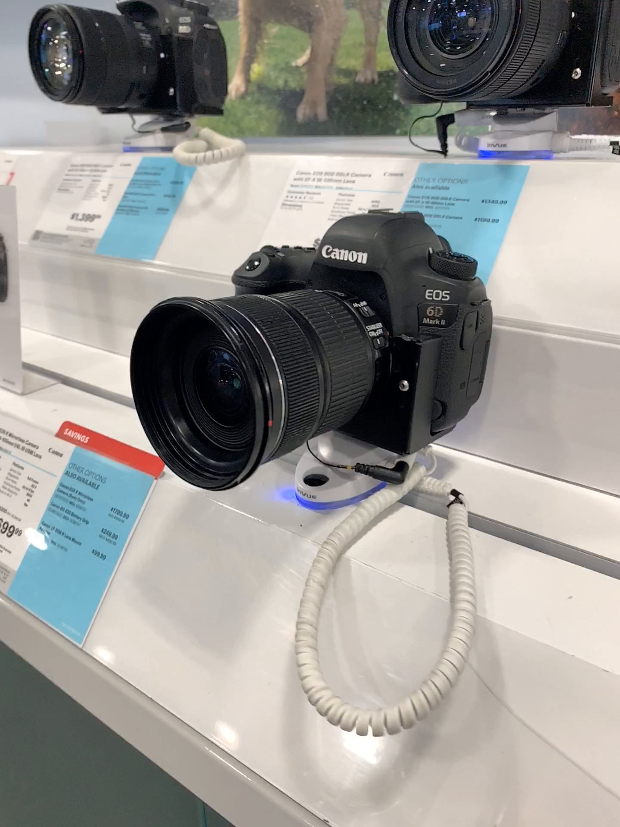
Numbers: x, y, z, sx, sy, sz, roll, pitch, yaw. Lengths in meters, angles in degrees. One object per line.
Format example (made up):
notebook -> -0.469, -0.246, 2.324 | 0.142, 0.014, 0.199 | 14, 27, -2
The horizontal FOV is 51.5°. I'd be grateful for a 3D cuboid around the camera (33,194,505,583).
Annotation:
camera -> -0.009, -0.037, 0.326 | 0.137, 0.123, 0.180 | 16, 29, 35
